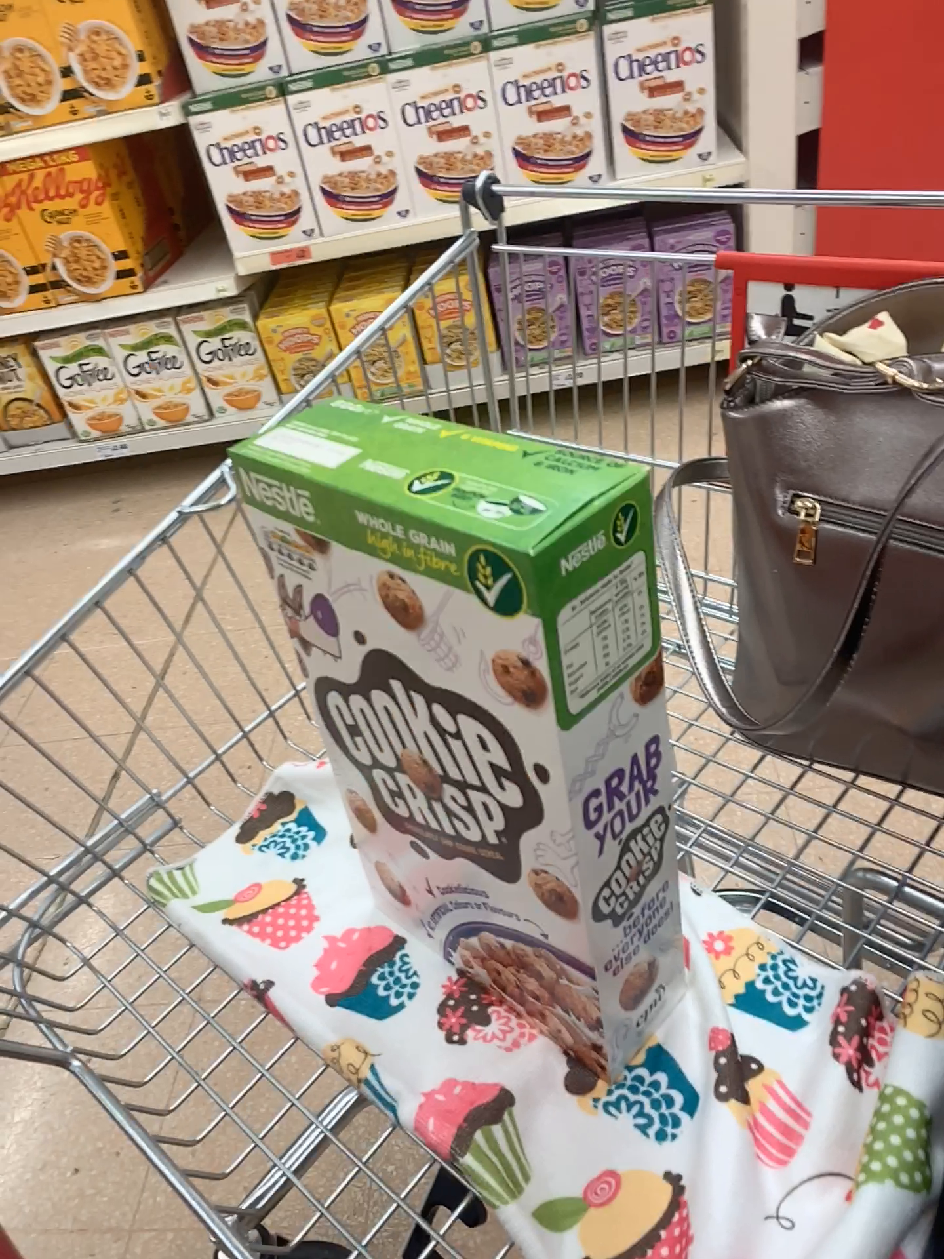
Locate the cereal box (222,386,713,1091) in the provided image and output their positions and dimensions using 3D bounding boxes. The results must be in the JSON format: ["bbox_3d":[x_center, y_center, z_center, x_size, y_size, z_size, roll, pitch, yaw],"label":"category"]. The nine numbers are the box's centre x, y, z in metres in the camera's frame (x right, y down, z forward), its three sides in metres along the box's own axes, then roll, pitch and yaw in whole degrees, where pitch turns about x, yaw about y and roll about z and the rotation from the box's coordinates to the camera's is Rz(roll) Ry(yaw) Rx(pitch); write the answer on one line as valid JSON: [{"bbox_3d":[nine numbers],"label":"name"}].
[{"bbox_3d":[0.005,0.053,0.487,0.221,0.307,0.070,23,44,39],"label":"cereal box"}]
